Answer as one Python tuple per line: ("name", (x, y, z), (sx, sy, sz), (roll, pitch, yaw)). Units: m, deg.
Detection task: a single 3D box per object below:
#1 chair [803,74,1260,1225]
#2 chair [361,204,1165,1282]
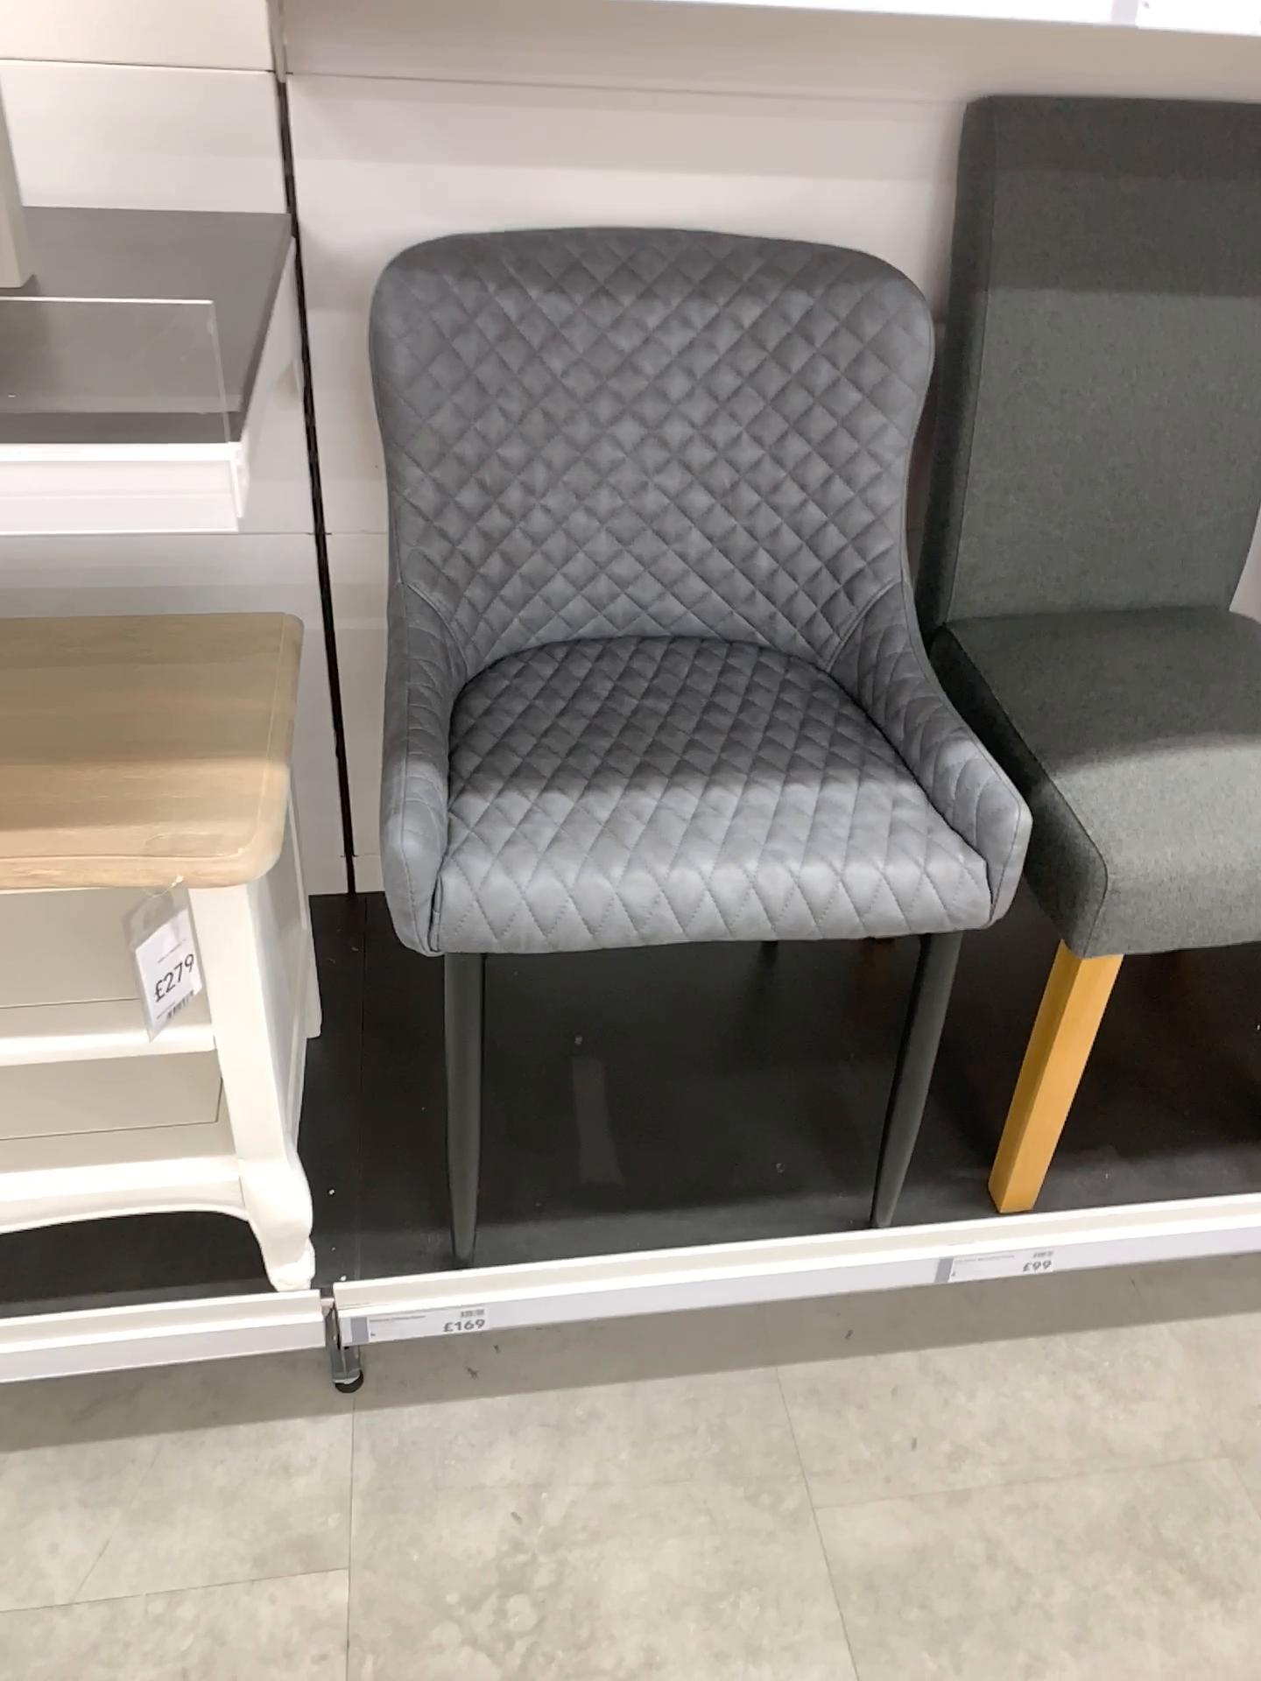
("chair", (0.509, -0.176, 1.245), (0.430, 0.911, 0.565), (-3, 35, -10))
("chair", (0.025, -0.096, 1.189), (0.480, 0.792, 0.545), (-3, 35, -9))
